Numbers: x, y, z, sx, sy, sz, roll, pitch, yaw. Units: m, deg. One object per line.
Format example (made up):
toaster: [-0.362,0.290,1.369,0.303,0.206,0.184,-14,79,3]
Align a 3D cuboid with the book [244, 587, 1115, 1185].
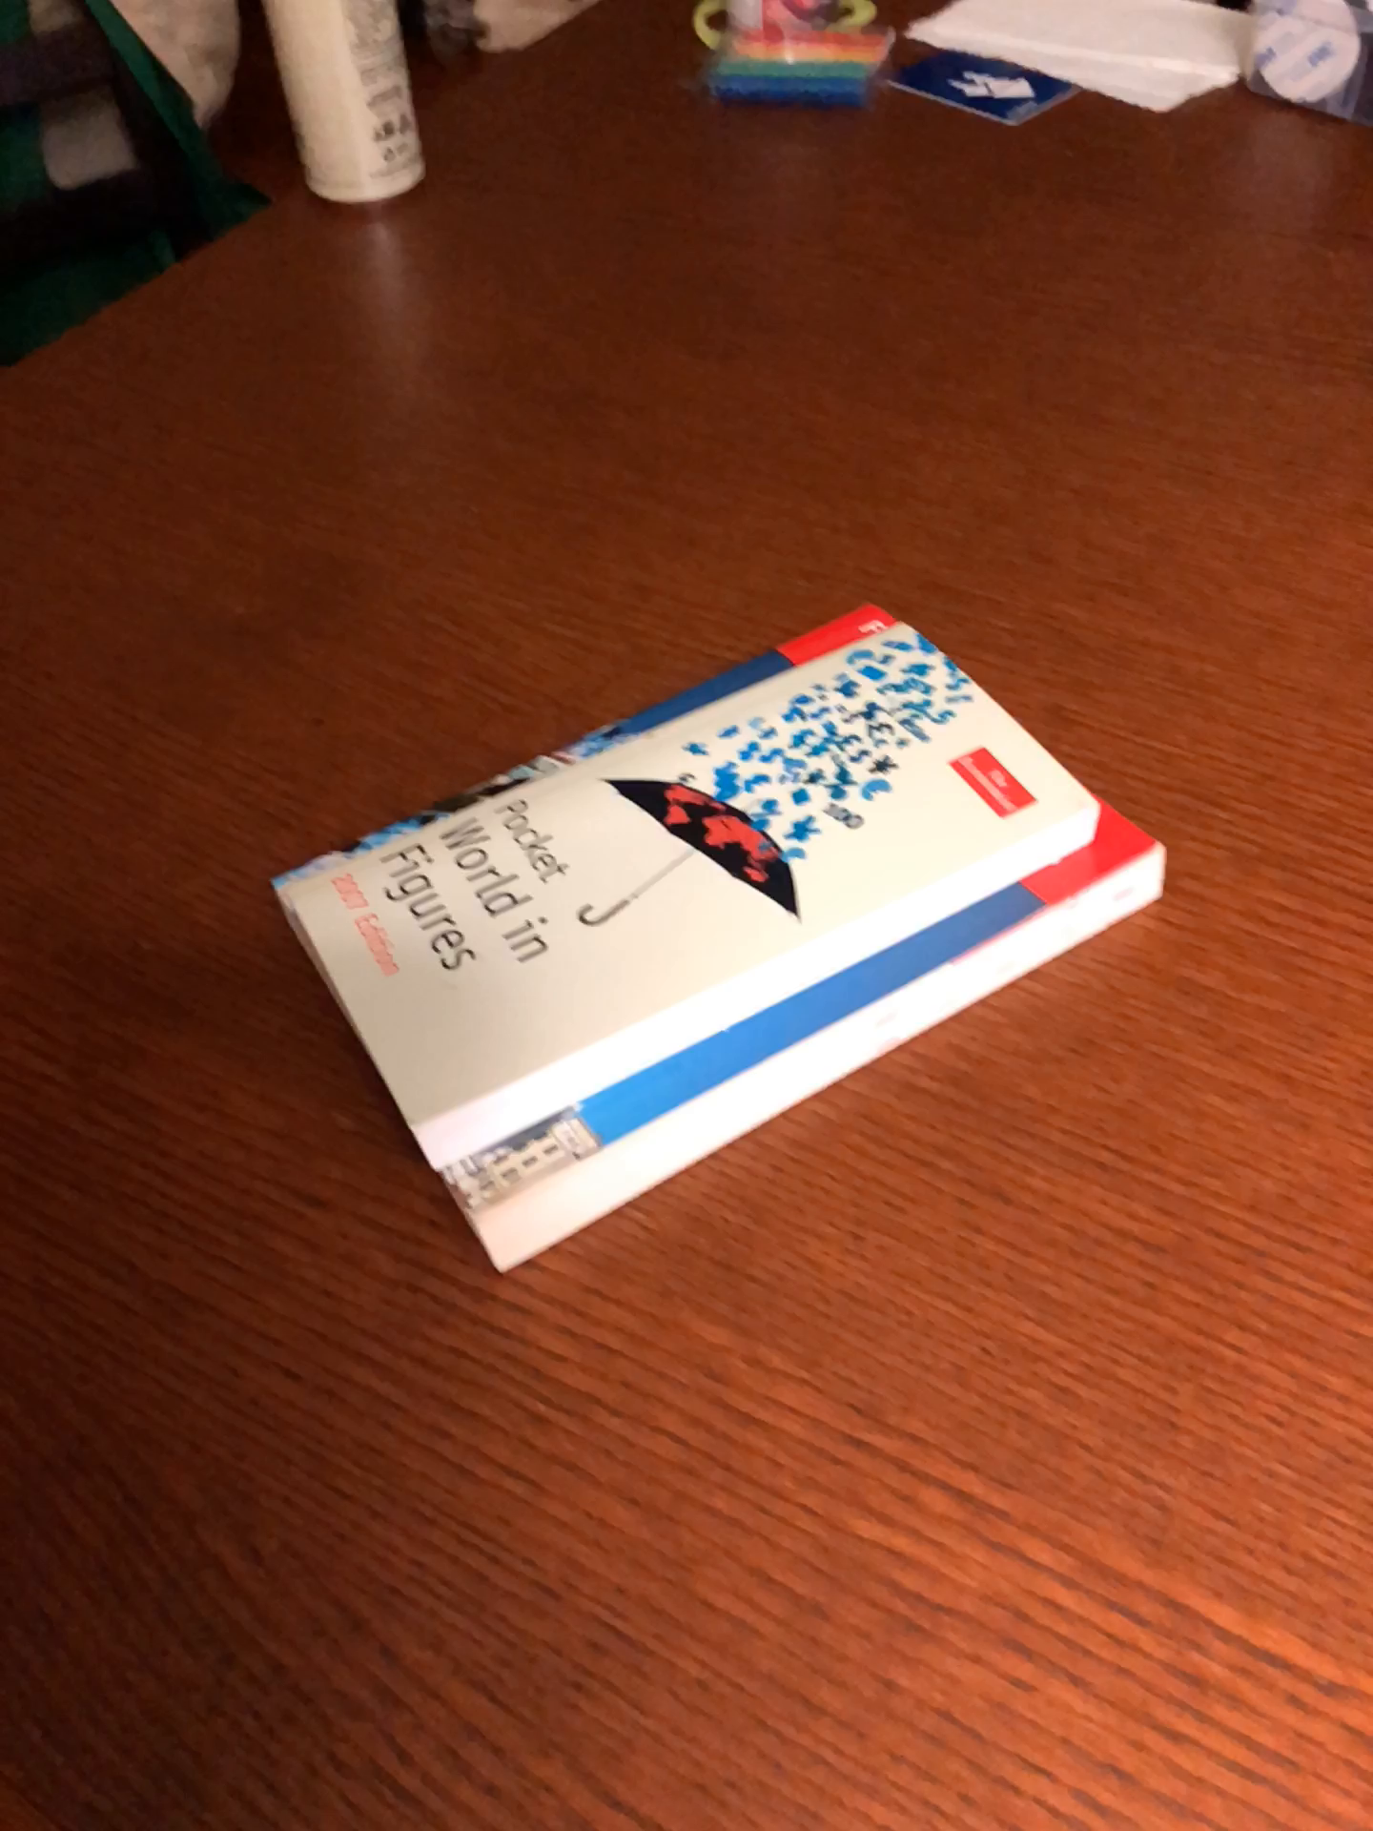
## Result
book: [-0.002,-0.018,0.394,0.200,0.020,0.100,-25,51,-16]

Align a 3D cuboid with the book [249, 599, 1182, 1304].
book: [0.005,-0.005,0.415,0.210,0.020,0.141,-27,52,-17]
